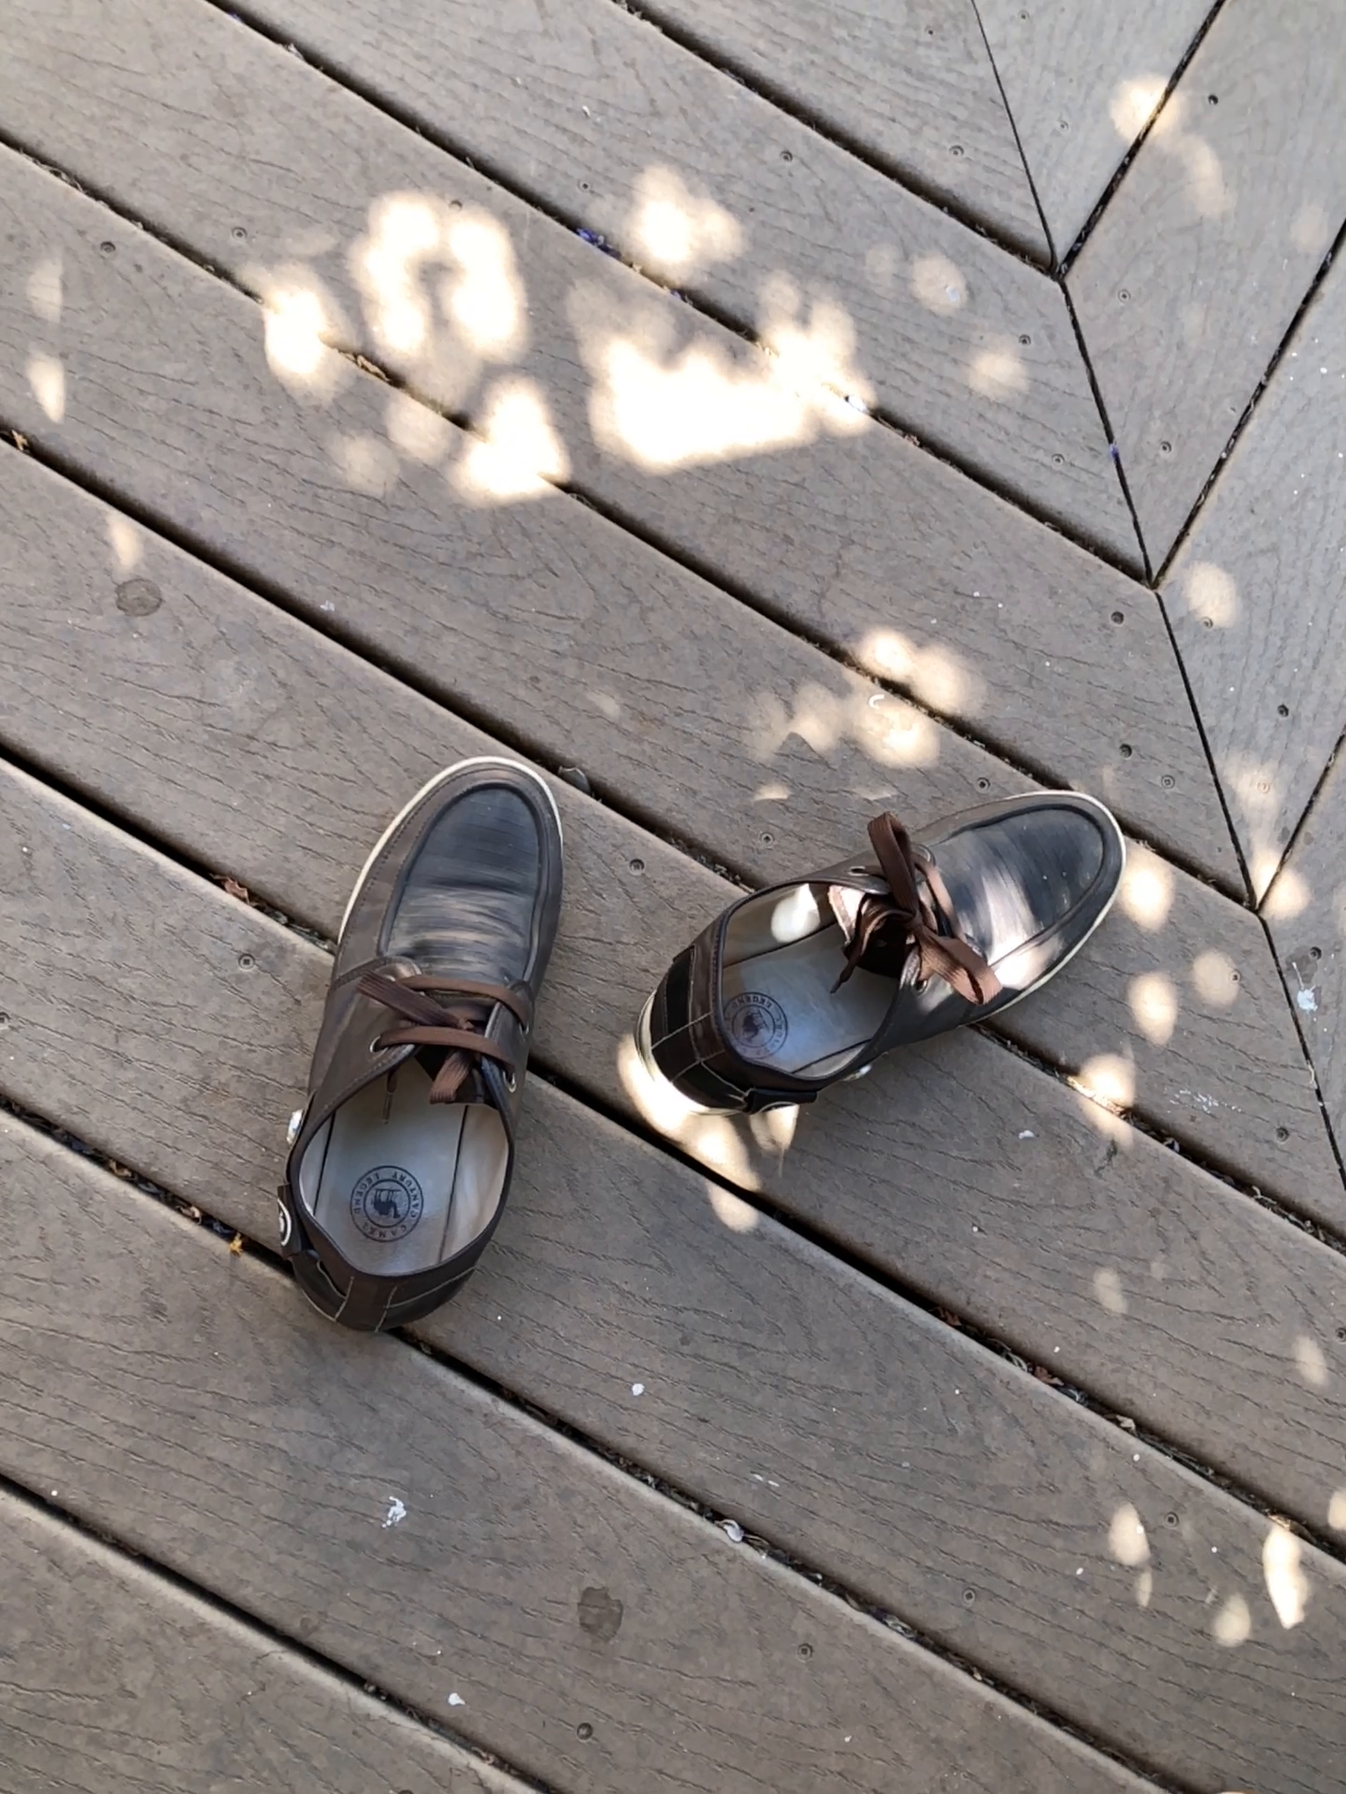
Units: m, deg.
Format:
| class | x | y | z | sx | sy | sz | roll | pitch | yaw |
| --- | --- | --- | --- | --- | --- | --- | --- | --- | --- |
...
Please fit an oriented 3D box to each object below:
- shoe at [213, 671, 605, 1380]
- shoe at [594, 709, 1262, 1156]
| class | x | y | z | sx | sy | sz | roll | pitch | yaw |
| --- | --- | --- | --- | --- | --- | --- | --- | --- | --- |
| shoe | -0.122 | 0.062 | 0.715 | 0.110 | 0.116 | 0.302 | 12 | 77 | -7 |
| shoe | 0.126 | 0.021 | 0.767 | 0.304 | 0.116 | 0.110 | -22 | 83 | -14 |
